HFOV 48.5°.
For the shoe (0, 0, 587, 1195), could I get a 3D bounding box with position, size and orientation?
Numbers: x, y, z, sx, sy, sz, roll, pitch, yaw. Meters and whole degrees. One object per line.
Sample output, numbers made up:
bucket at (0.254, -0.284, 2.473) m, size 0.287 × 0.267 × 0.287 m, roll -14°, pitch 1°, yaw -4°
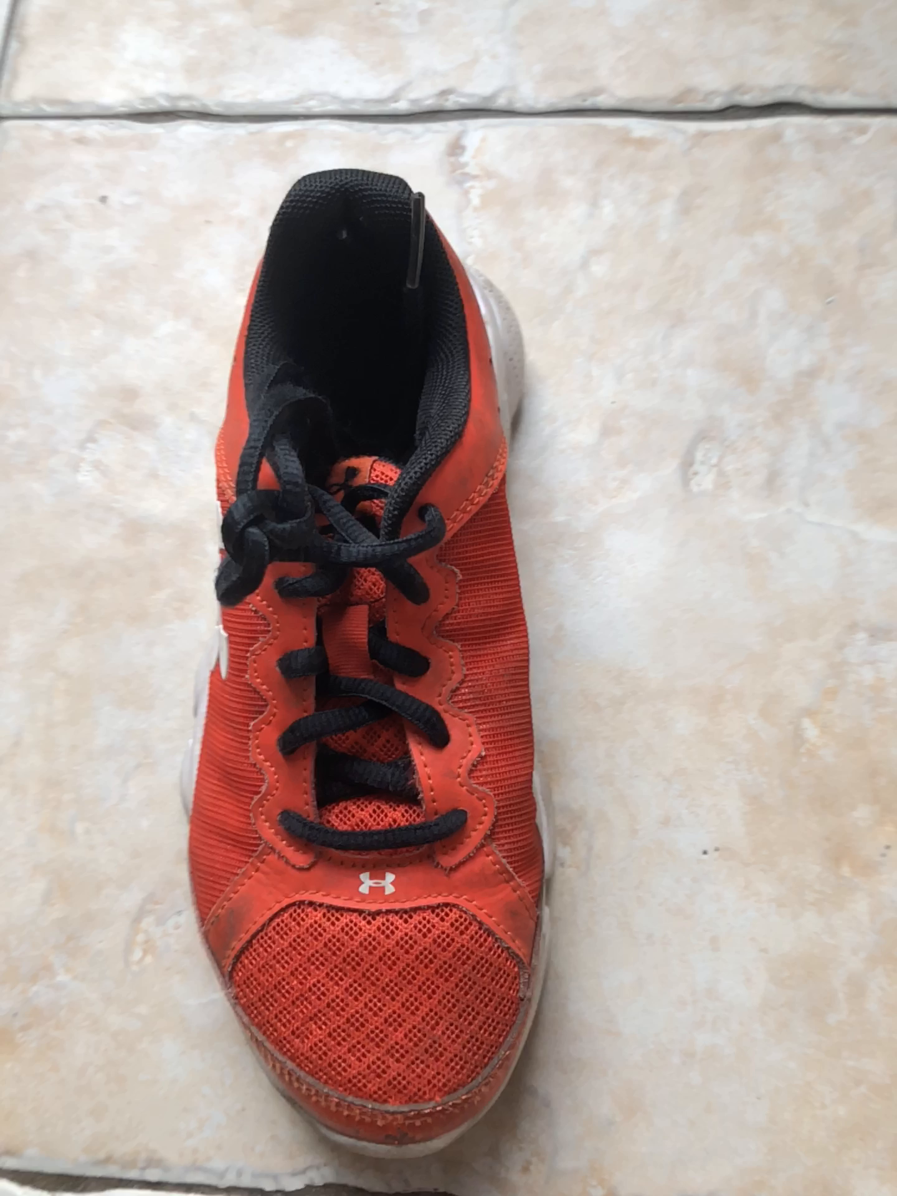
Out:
shoe at (-0.025, 0.004, 0.220) m, size 0.100 × 0.100 × 0.240 m, roll 0°, pitch 75°, yaw 5°
